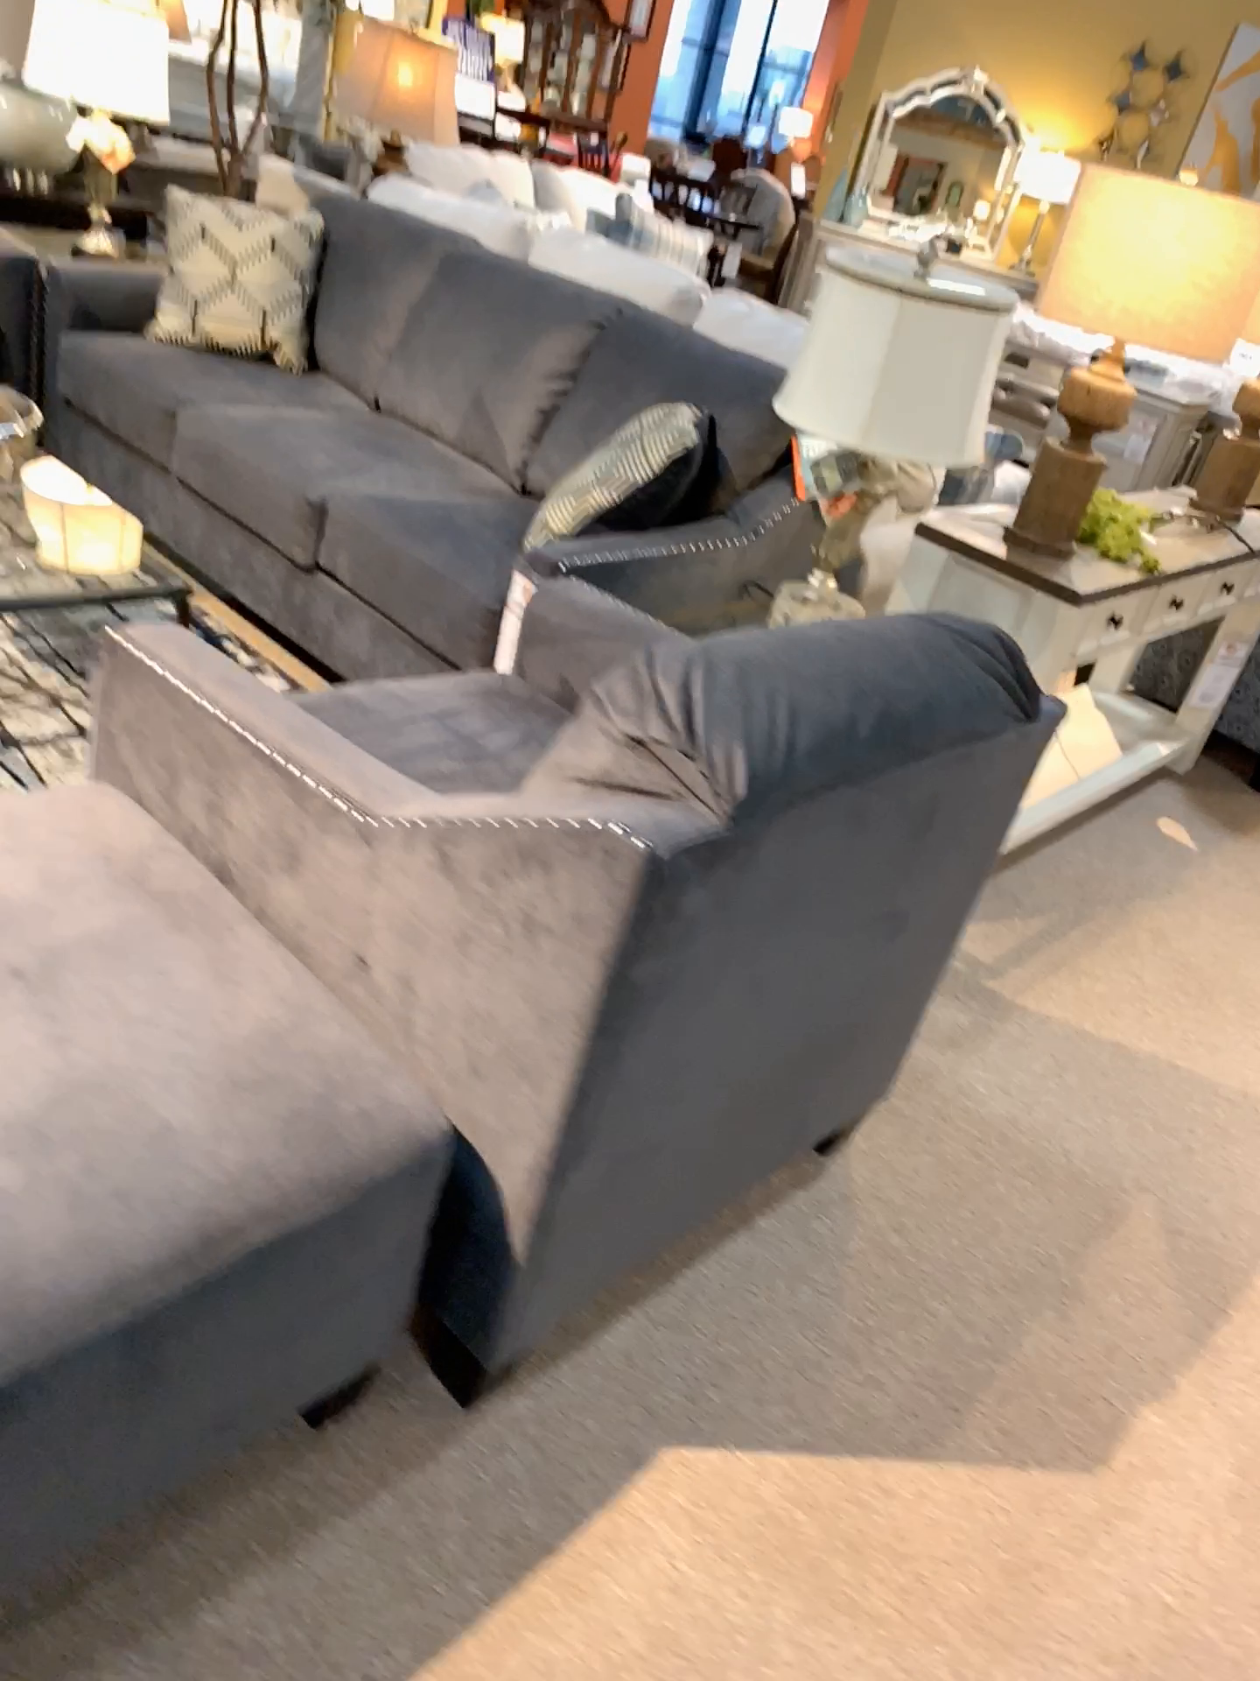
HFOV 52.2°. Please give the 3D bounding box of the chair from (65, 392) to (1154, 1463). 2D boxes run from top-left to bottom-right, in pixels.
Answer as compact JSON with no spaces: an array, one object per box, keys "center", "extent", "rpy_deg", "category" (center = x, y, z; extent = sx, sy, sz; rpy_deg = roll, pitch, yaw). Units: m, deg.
[{"center":[-0.079,-0.026,1.752],"extent":[0.959,0.839,0.923],"rpy_deg":[35,35,31],"category":"chair"}]
